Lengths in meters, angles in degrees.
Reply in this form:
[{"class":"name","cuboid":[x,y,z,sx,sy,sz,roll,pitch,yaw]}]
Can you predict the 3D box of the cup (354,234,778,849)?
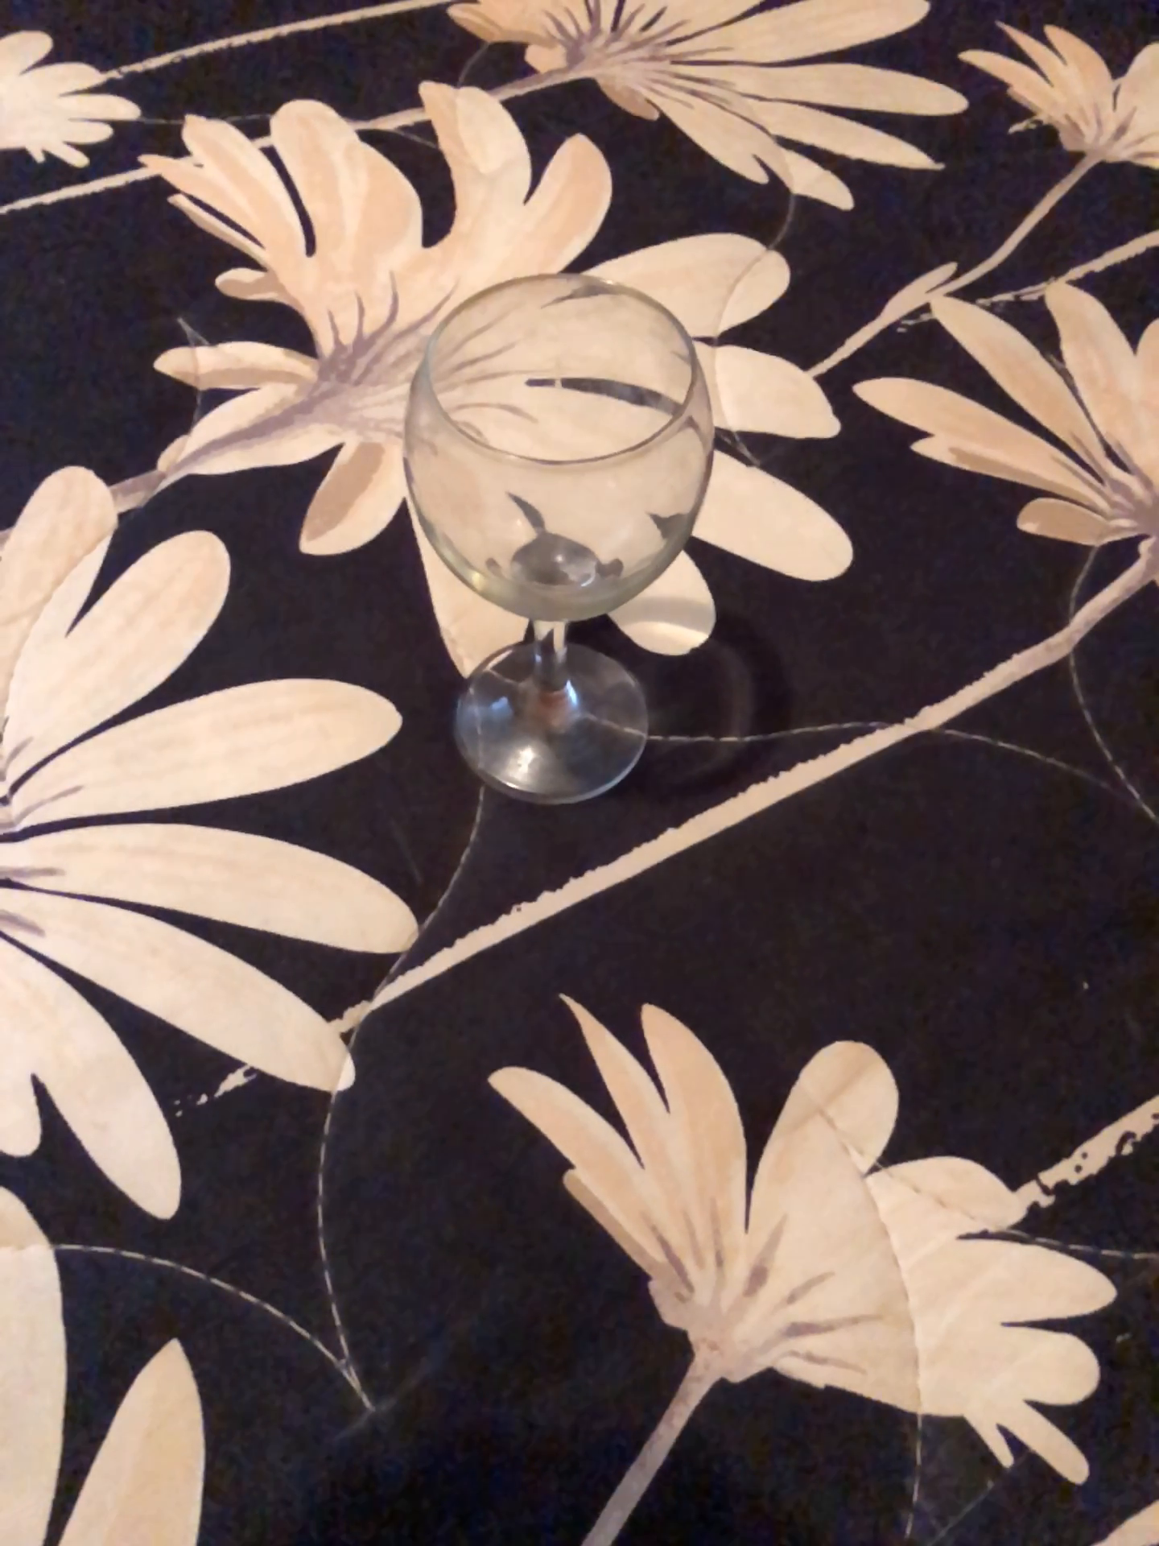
[{"class":"cup","cuboid":[-0.007,-0.055,0.347,0.082,0.139,0.084,1,59,-1]}]
